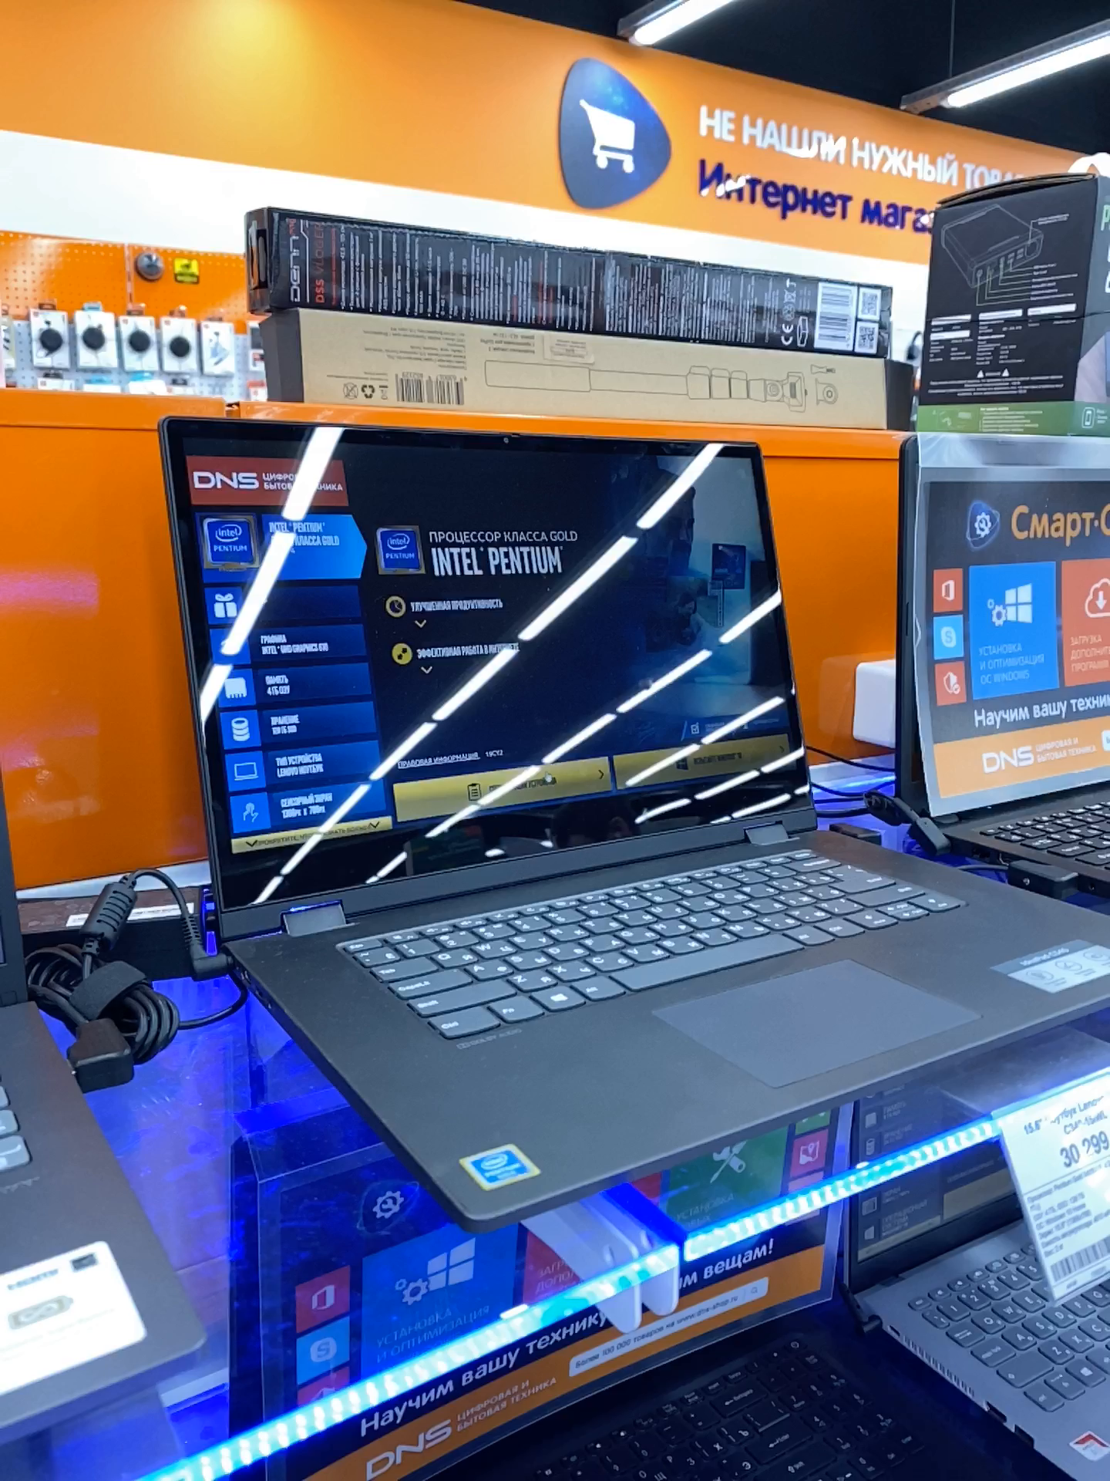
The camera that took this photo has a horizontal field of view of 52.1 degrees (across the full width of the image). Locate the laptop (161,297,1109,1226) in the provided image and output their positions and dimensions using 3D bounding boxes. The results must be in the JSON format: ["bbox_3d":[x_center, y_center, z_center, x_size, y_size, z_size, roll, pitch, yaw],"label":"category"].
[{"bbox_3d":[0.054,-0.028,0.509,0.362,0.232,0.318,-6,12,-32],"label":"laptop"}]
